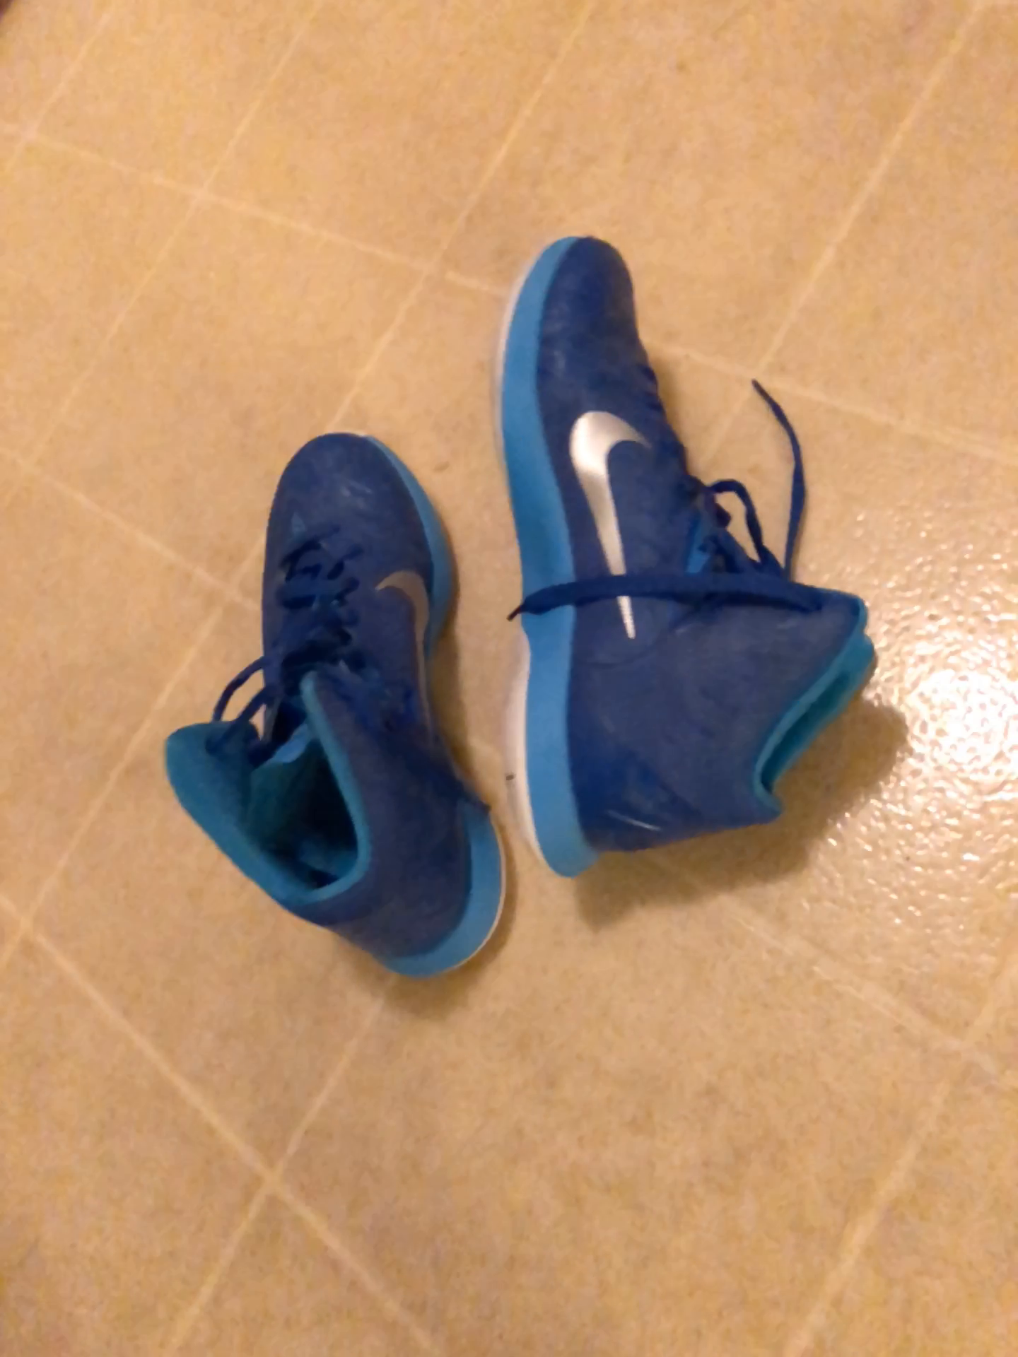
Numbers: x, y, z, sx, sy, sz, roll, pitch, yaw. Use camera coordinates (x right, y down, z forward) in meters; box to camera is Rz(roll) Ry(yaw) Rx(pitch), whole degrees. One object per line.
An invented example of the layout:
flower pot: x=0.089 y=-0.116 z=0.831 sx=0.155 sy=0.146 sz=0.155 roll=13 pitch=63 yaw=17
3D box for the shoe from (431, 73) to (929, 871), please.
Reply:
shoe: x=0.067 y=-0.077 z=0.474 sx=0.159 sy=0.120 sz=0.282 roll=-10 pitch=68 yaw=18

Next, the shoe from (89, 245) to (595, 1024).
shoe: x=-0.083 y=-0.016 z=0.522 sx=0.120 sy=0.144 sz=0.311 roll=-24 pitch=63 yaw=17
